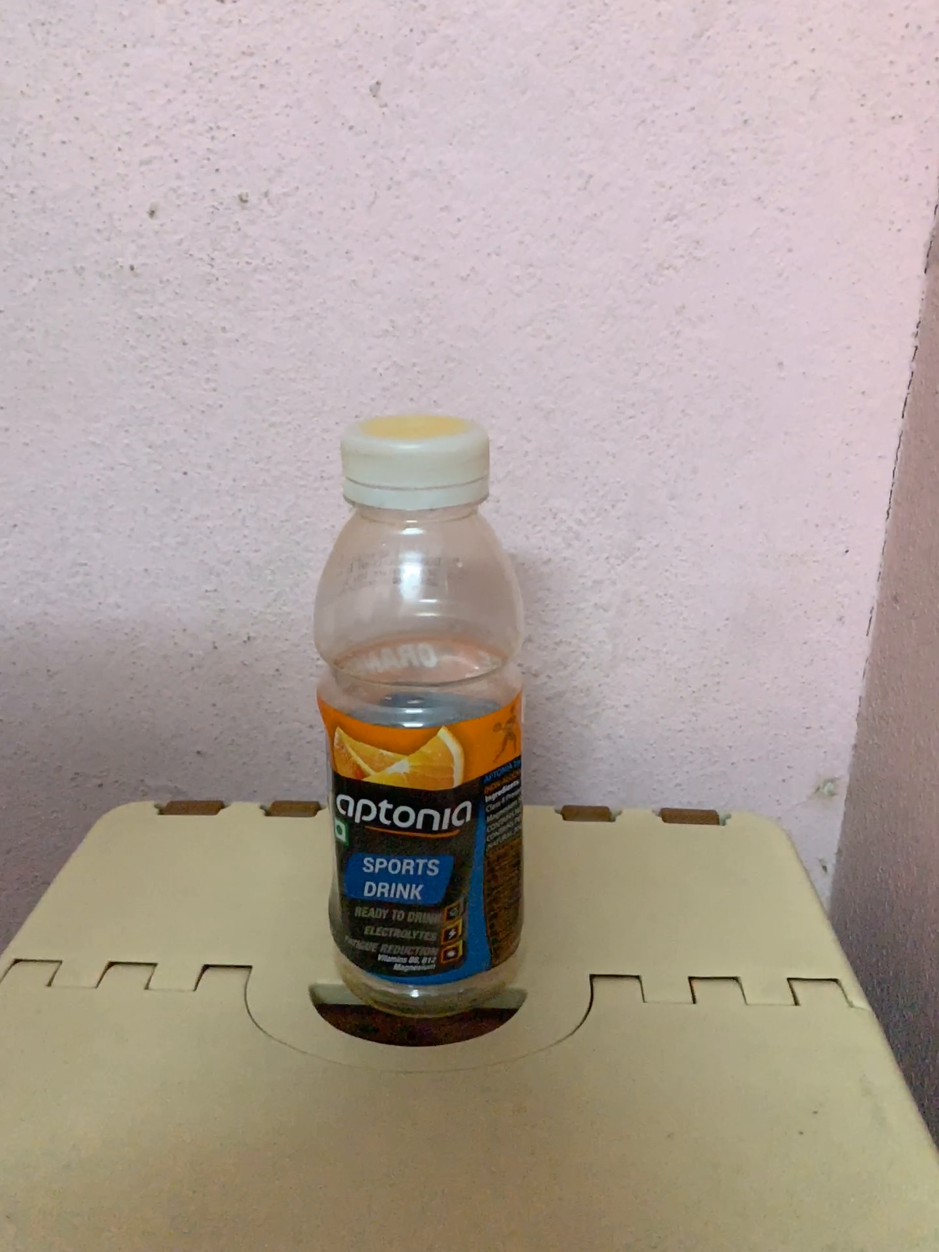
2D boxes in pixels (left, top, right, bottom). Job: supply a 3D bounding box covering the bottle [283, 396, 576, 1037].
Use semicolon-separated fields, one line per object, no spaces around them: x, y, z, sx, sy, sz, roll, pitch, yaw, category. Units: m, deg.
-0.007;0.027;0.290;0.070;0.179;0.060;2;21;6;bottle
